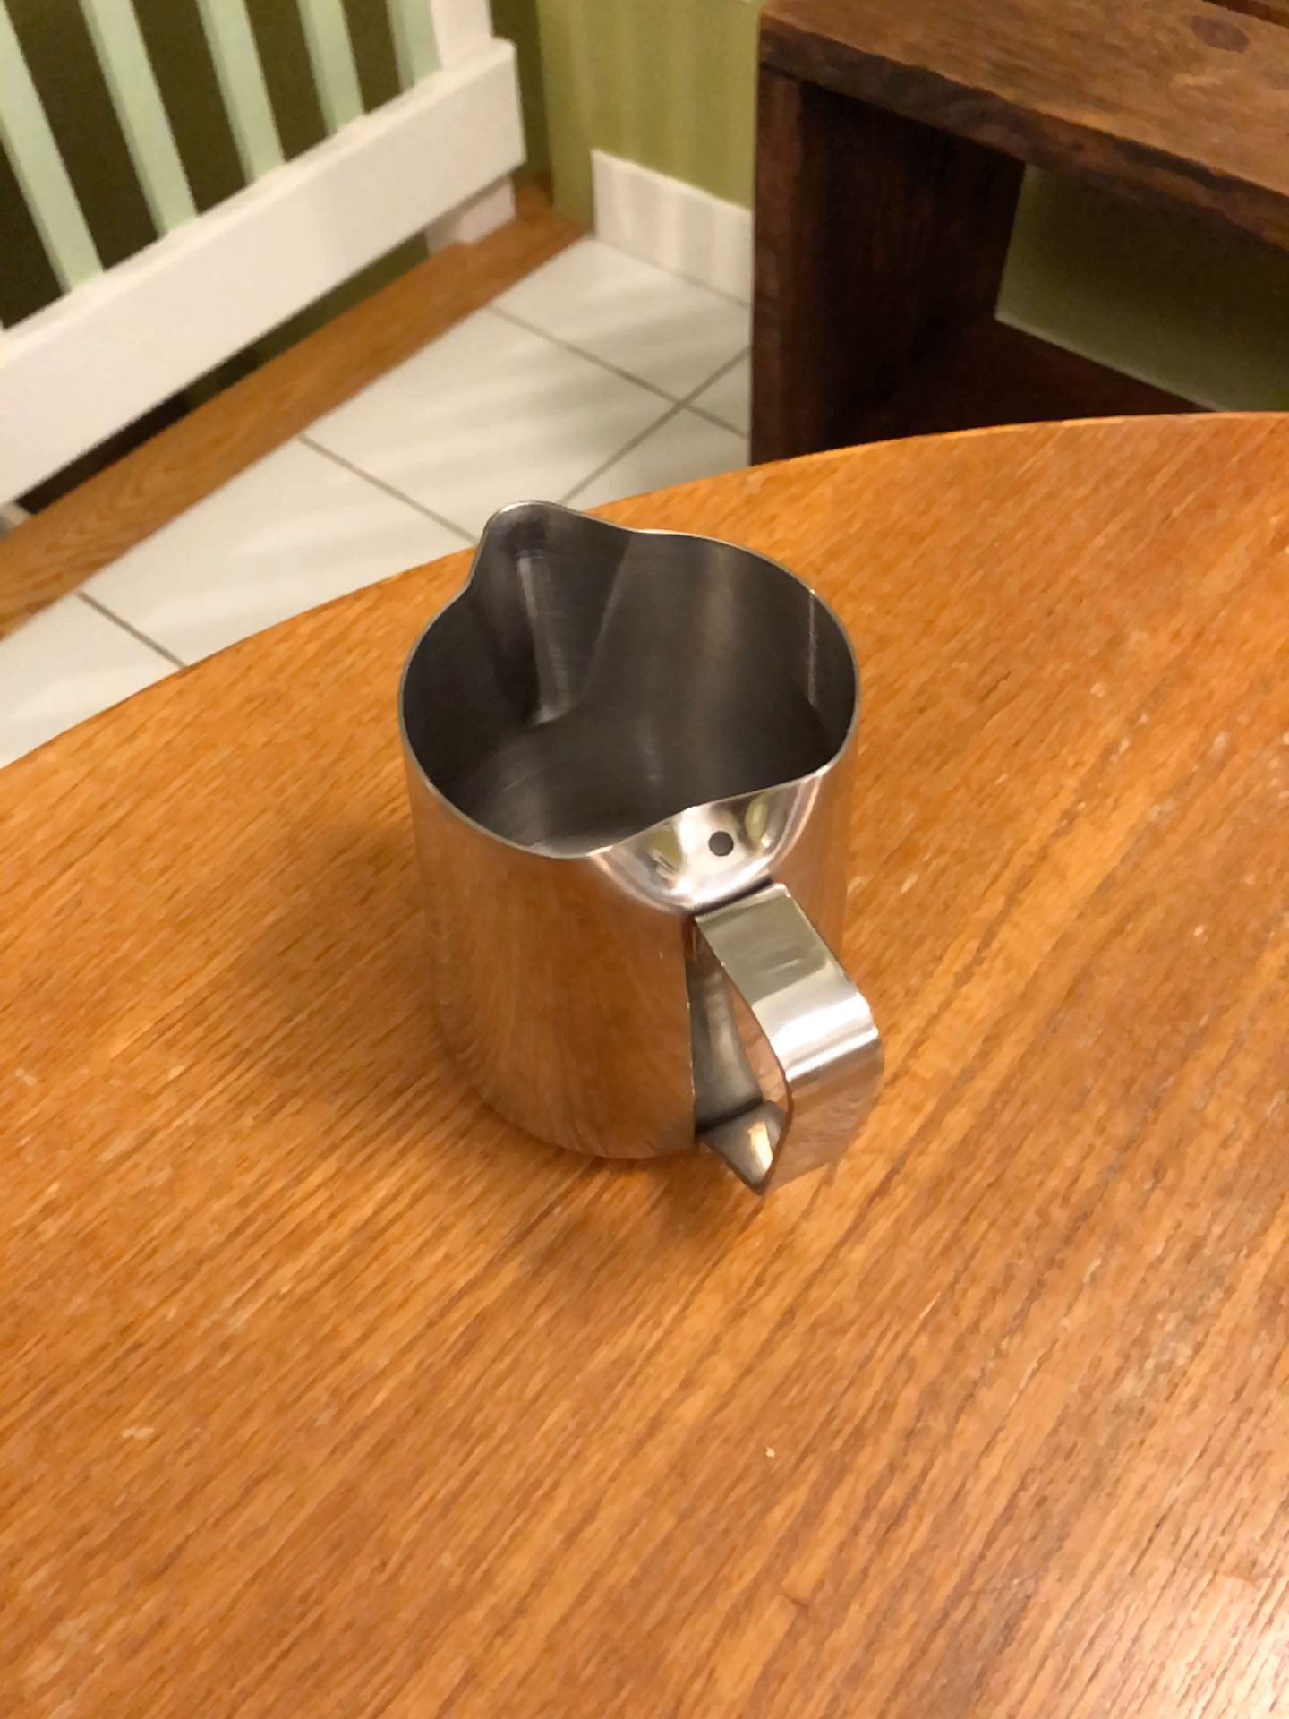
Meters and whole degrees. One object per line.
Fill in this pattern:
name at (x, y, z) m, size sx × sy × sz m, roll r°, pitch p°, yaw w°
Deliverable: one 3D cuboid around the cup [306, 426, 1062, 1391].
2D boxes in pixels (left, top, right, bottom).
cup at (0.001, 0.010, 0.287) m, size 0.082 × 0.115 × 0.136 m, roll -19°, pitch 56°, yaw -11°
